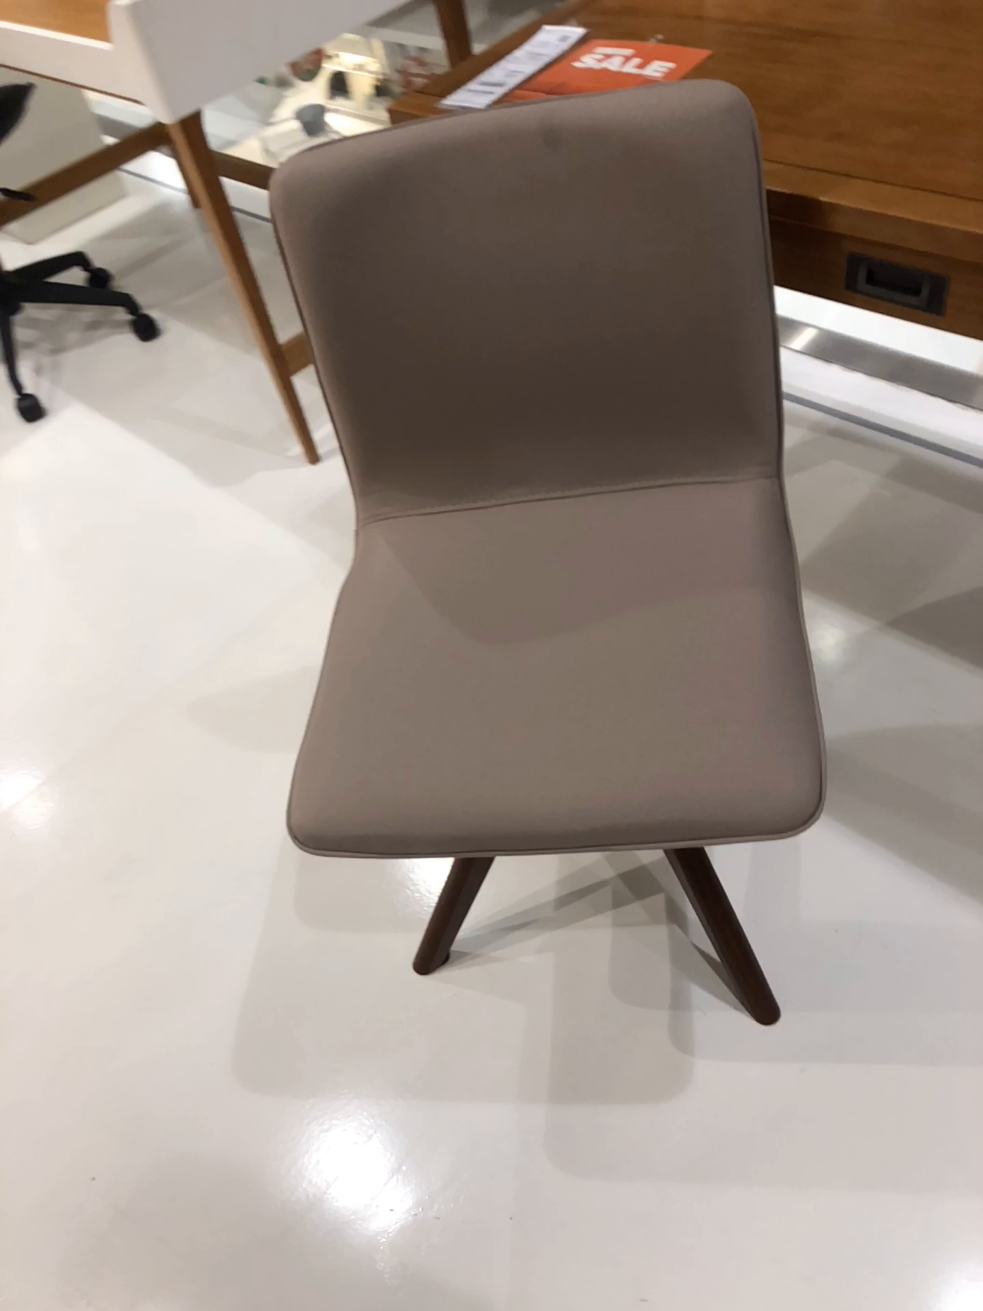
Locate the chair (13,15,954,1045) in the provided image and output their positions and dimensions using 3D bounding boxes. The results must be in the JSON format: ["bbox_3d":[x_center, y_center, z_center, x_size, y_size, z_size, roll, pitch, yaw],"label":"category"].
[{"bbox_3d":[0.065,-0.049,1.087,0.540,0.834,0.534,-5,47,10],"label":"chair"}]
